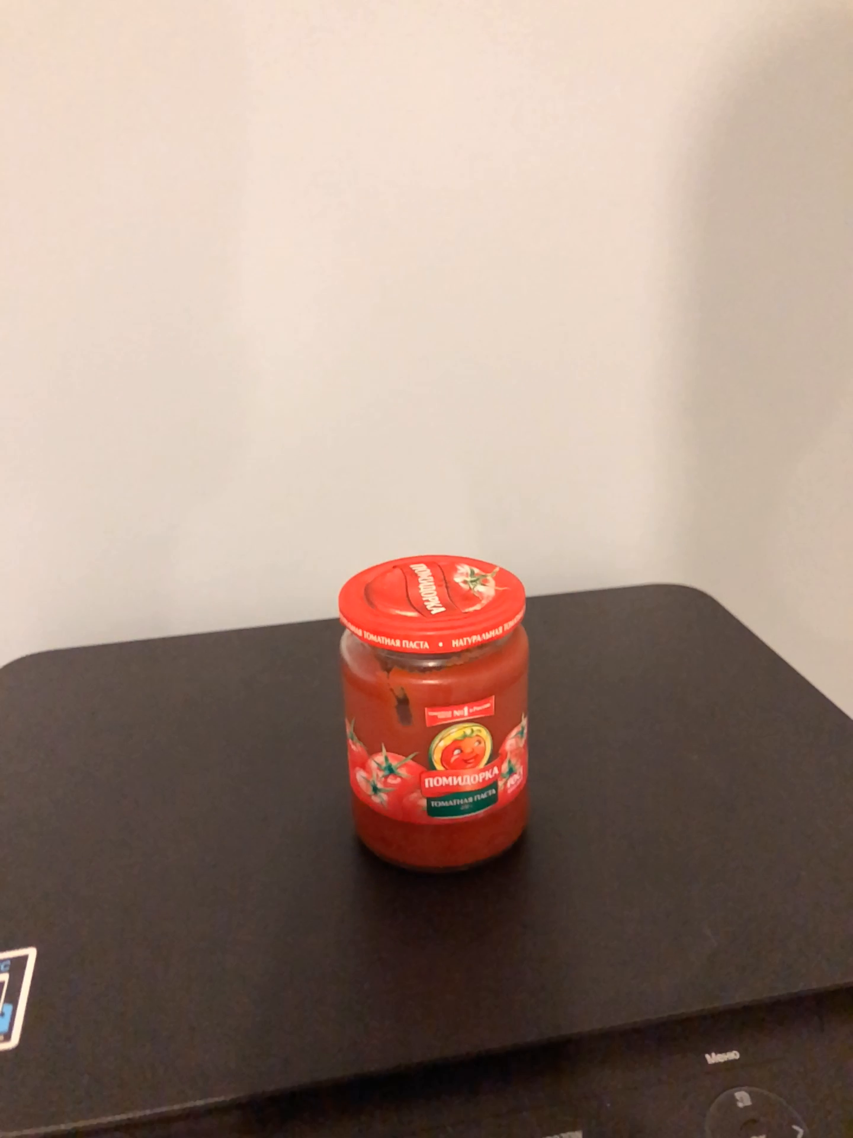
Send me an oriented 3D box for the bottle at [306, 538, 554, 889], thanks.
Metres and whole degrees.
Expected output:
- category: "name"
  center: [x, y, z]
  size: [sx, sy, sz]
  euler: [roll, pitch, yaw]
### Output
- category: "bottle"
  center: [0.003, 0.053, 0.357]
  size: [0.080, 0.109, 0.070]
  euler: [-1, 23, 2]
